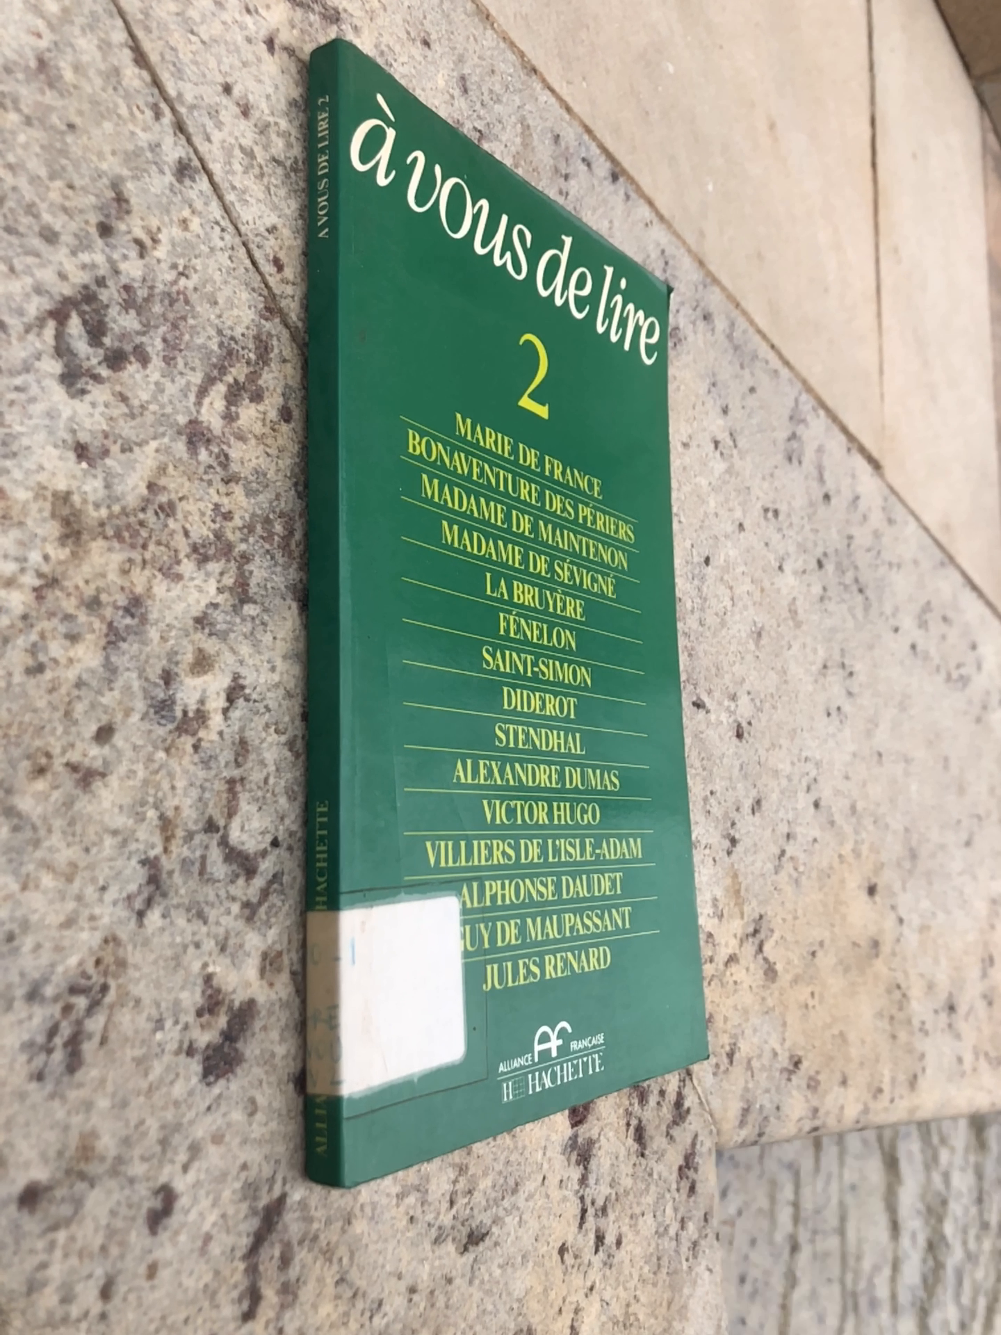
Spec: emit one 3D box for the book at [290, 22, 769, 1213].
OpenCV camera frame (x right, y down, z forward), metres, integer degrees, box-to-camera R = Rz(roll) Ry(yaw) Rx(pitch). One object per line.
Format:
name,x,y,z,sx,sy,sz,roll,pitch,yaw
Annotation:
book,0.013,-0.010,0.252,0.141,0.017,0.210,10,74,-51
